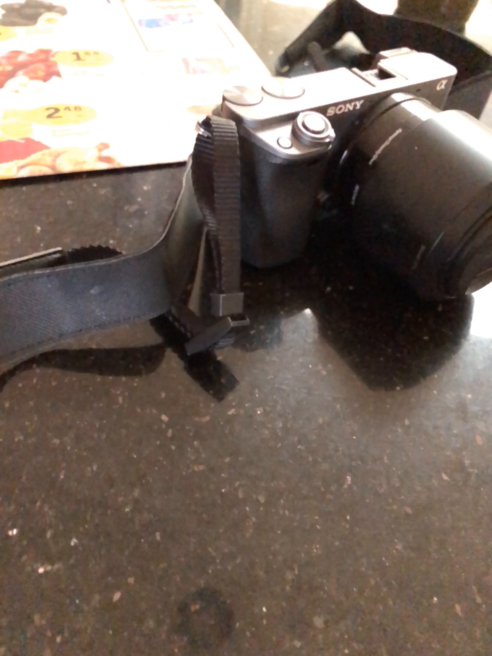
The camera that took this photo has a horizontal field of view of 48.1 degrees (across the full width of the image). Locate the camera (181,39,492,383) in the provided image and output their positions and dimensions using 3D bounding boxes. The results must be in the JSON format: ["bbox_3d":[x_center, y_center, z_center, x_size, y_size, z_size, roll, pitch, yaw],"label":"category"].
[{"bbox_3d":[0.056,-0.061,0.246,0.130,0.070,0.110,-23,57,-26],"label":"camera"}]
